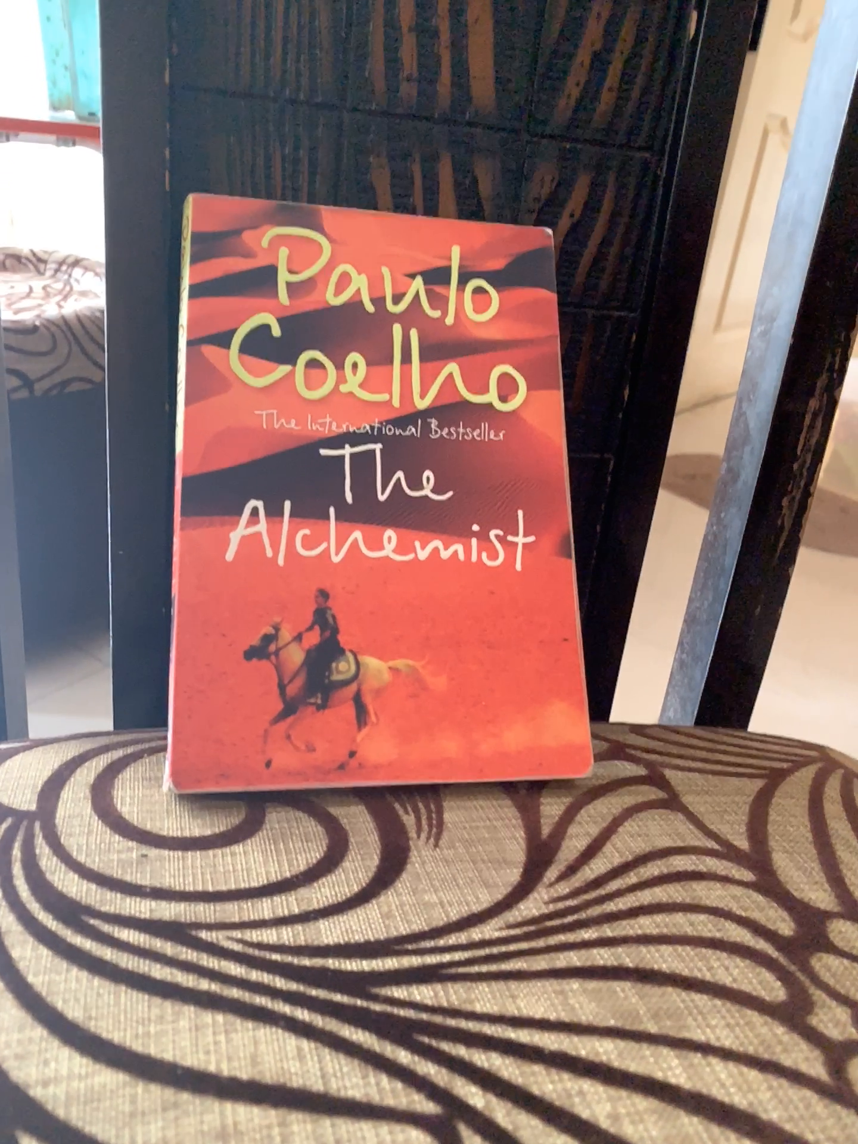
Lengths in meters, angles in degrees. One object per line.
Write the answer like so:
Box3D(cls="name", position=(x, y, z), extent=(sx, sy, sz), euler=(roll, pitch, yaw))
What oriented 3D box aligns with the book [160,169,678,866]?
Box3D(cls="book", position=(-0.009, -0.022, 0.273), extent=(0.140, 0.201, 0.030), euler=(0, -17, -16))
